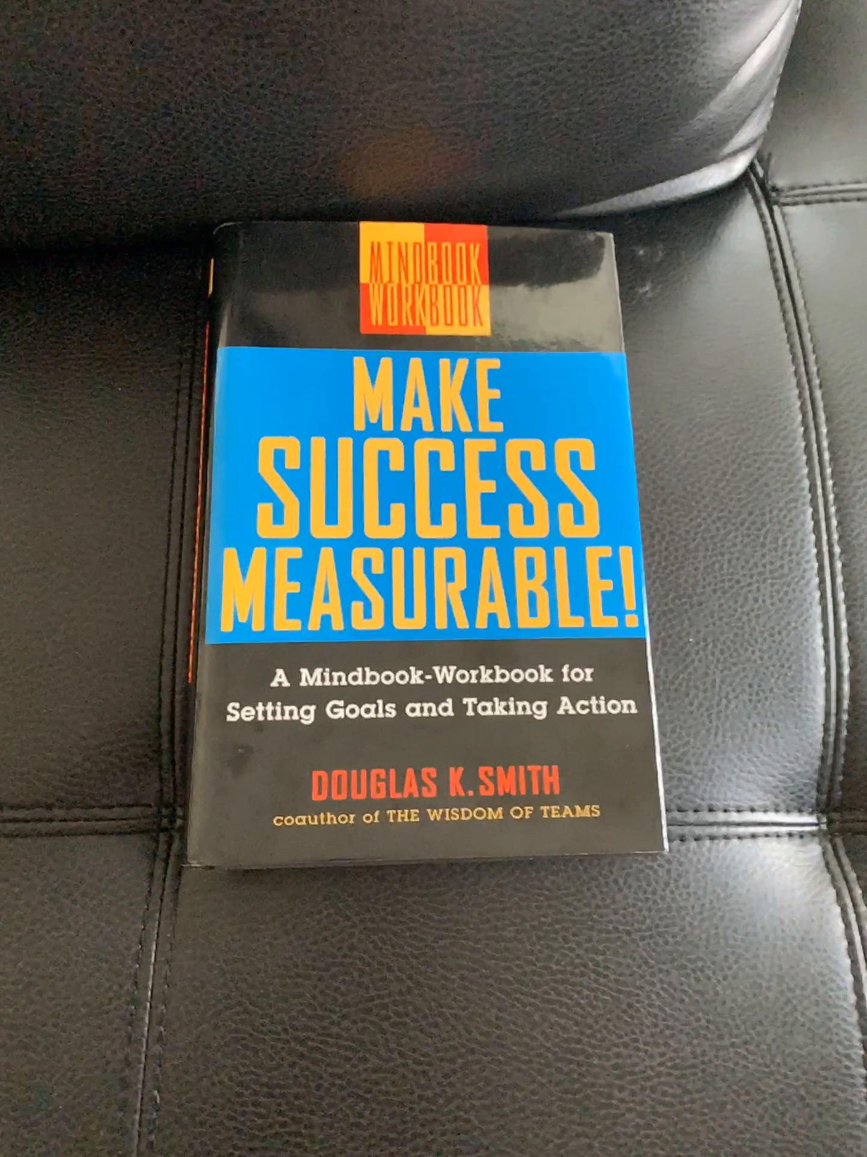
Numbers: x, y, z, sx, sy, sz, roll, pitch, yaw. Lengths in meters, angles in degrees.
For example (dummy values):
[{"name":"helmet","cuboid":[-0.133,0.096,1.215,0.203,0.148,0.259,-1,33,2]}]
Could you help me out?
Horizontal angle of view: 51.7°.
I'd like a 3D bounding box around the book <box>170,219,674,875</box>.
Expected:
[{"name":"book","cuboid":[-0.006,-0.019,0.335,0.164,0.030,0.241,0,75,-4]}]
